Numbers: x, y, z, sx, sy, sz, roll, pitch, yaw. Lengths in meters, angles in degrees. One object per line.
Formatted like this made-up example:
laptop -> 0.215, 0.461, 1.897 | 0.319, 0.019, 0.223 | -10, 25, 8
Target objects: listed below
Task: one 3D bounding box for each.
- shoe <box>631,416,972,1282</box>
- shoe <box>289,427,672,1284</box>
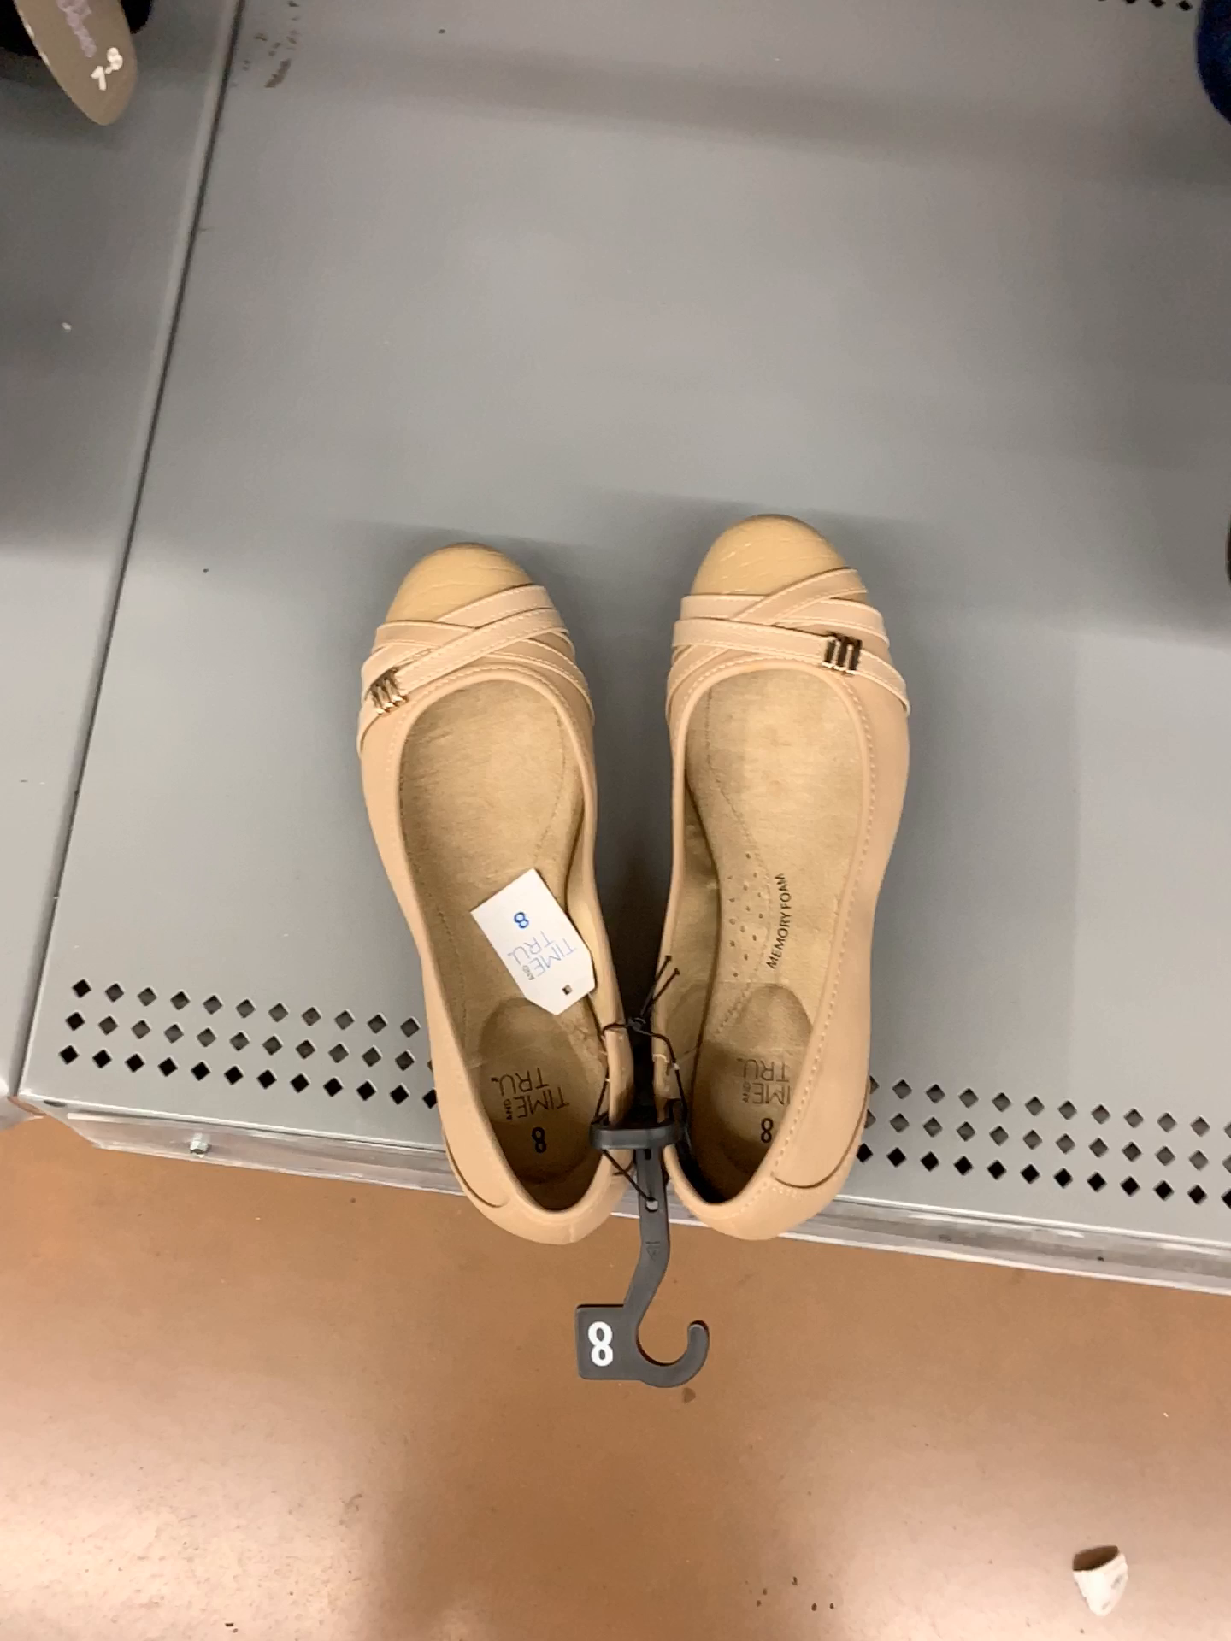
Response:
shoe -> 0.064, 0.010, 0.460 | 0.100, 0.100, 0.280 | 3, 80, 0
shoe -> -0.049, 0.012, 0.471 | 0.100, 0.100, 0.280 | -7, 80, -2
